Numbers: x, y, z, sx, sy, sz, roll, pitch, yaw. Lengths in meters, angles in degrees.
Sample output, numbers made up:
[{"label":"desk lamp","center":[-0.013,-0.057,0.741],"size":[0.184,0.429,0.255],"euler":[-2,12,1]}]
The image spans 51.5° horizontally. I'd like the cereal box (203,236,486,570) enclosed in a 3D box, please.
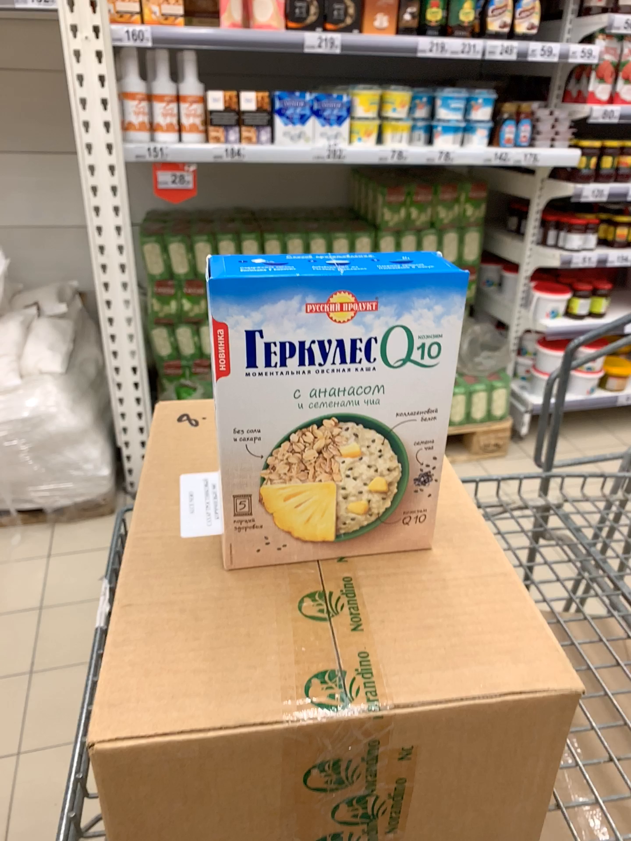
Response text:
[{"label":"cereal box","center":[0.012,-0.008,0.411],"size":[0.150,0.199,0.050],"euler":[-4,28,-10]}]
